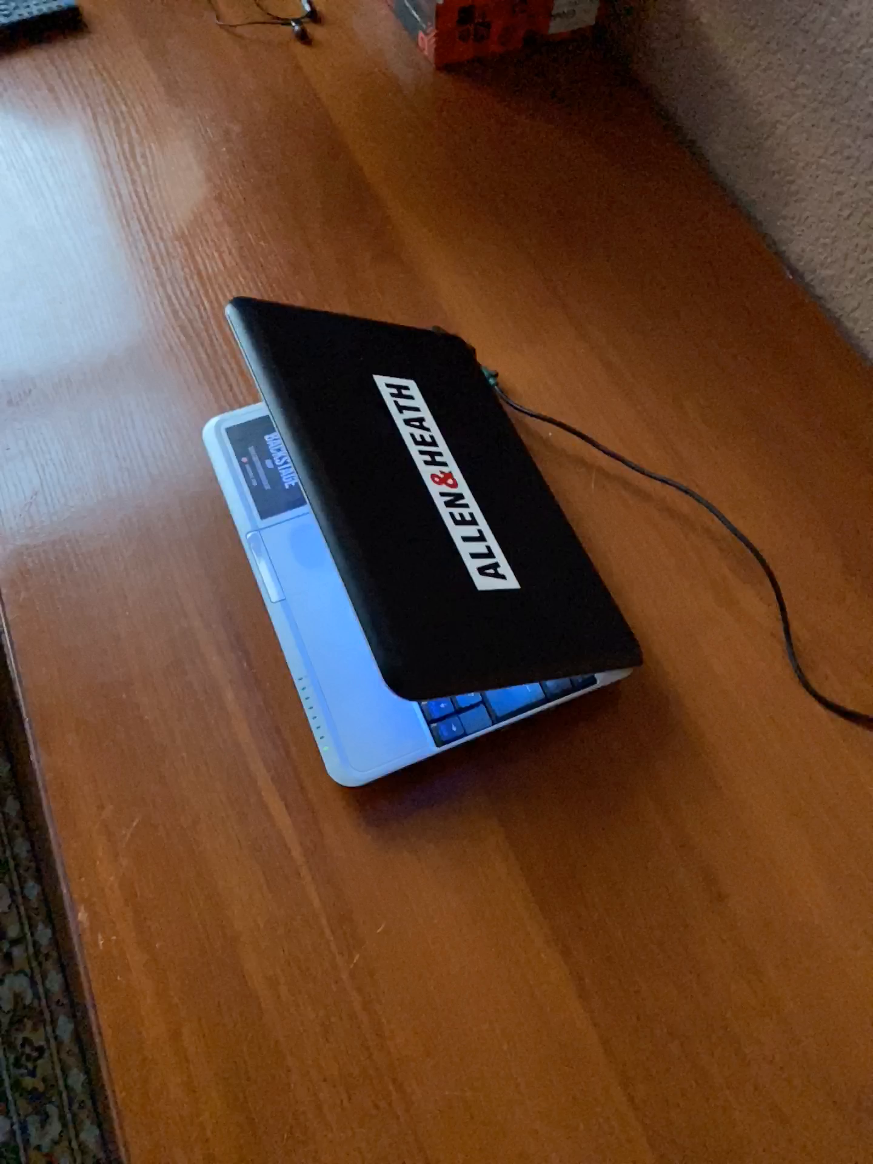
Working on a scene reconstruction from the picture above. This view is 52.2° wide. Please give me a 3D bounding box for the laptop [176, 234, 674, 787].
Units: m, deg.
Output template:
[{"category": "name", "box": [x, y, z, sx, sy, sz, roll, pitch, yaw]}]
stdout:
[{"category": "laptop", "box": [-0.021, -0.051, 0.503, 0.173, 0.089, 0.267, -20, 63, -10]}]
